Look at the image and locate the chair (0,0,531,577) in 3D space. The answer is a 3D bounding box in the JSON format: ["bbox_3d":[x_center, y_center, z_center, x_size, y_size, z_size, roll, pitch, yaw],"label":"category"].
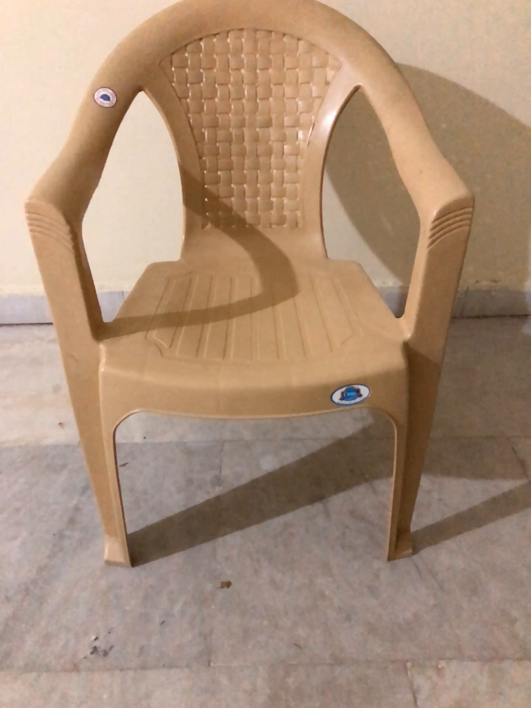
[{"bbox_3d":[-0.021,-0.143,0.940,0.590,0.745,0.604,-2,36,-2],"label":"chair"}]
